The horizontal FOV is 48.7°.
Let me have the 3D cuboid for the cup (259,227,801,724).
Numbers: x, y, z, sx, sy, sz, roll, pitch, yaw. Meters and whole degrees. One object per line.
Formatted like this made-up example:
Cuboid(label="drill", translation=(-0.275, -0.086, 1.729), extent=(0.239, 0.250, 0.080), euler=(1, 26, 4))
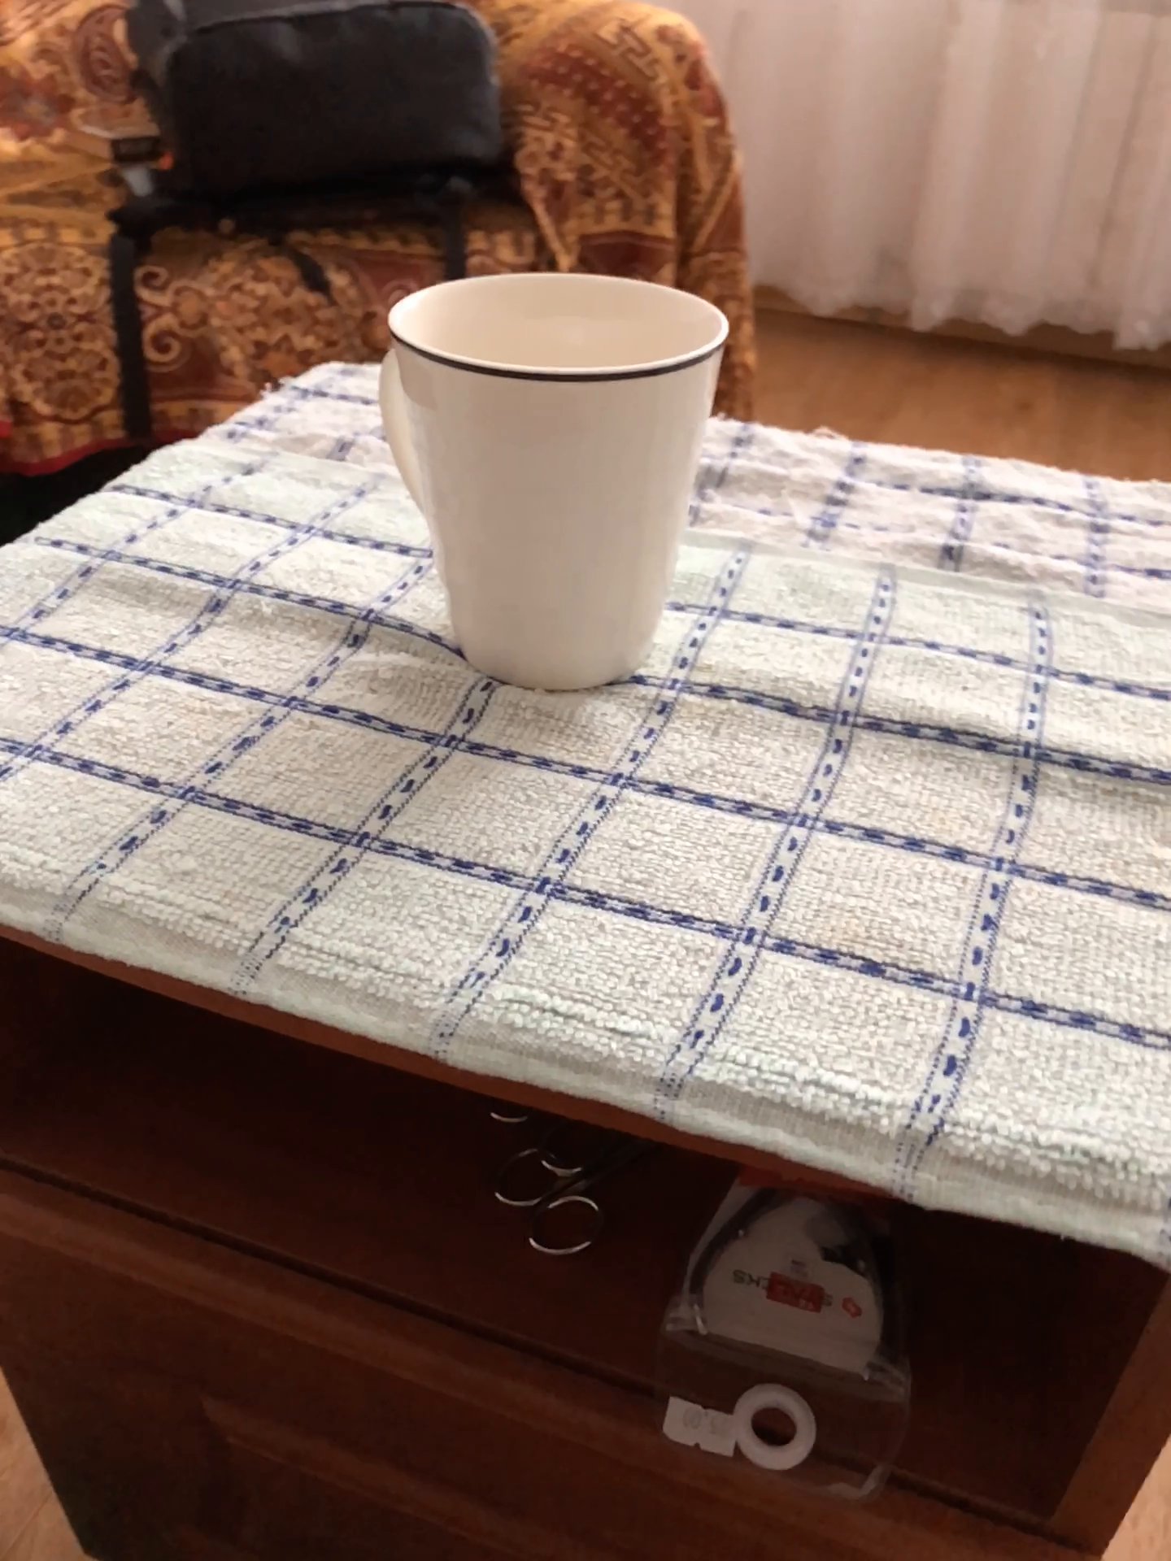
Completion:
Cuboid(label="cup", translation=(-0.019, -0.097, 0.381), extent=(0.091, 0.090, 0.123), euler=(-27, 45, -34))
